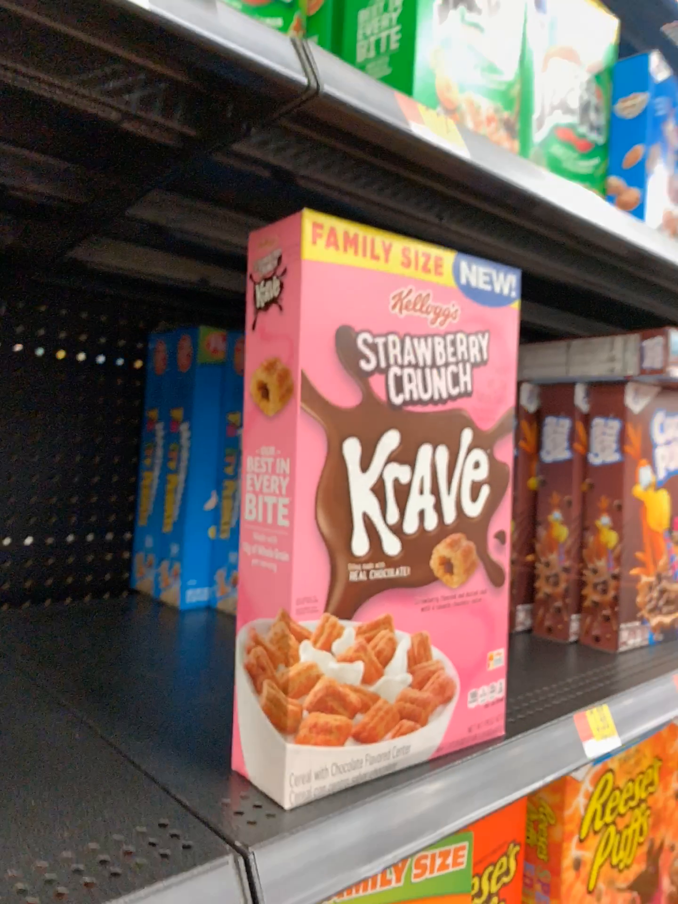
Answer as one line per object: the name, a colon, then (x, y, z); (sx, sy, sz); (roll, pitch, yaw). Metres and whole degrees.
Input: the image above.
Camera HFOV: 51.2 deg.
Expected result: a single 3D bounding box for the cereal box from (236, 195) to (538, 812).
cereal box: (0.041, 0.029, 0.465); (0.200, 0.330, 0.060); (3, -2, -39)
